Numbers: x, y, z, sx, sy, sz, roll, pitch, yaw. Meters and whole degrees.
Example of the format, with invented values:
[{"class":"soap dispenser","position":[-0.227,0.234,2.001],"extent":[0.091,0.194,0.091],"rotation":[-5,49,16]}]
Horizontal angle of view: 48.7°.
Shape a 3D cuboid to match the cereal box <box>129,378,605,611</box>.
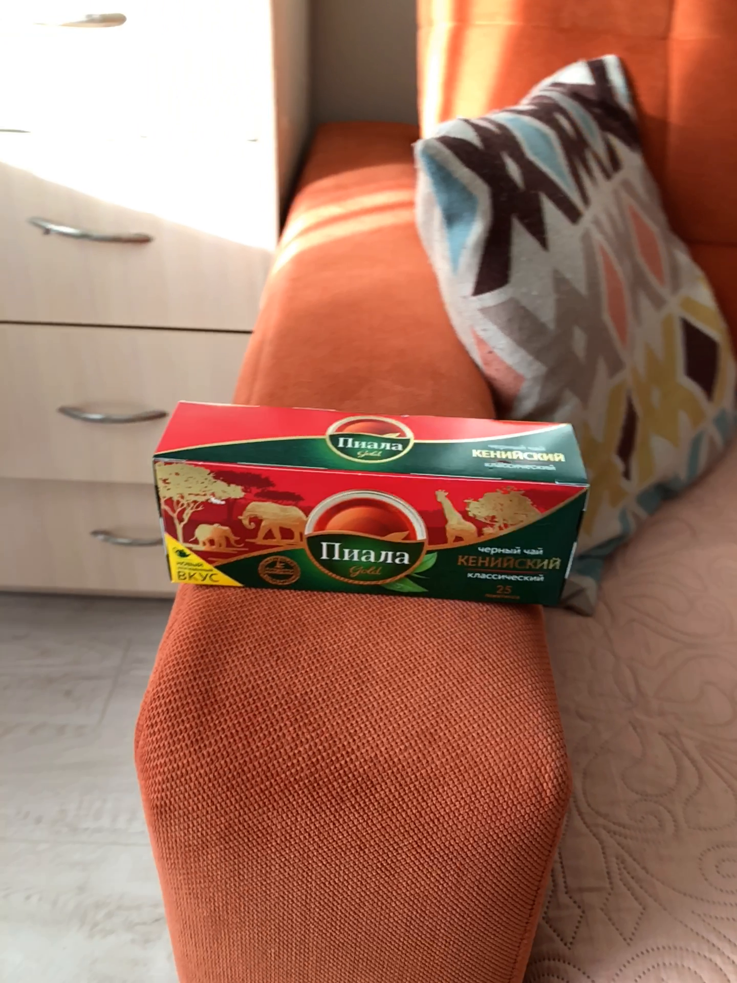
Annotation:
[{"class":"cereal box","position":[-0.001,0.001,0.331],"extent":[0.170,0.069,0.050],"rotation":[3,33,1]}]
